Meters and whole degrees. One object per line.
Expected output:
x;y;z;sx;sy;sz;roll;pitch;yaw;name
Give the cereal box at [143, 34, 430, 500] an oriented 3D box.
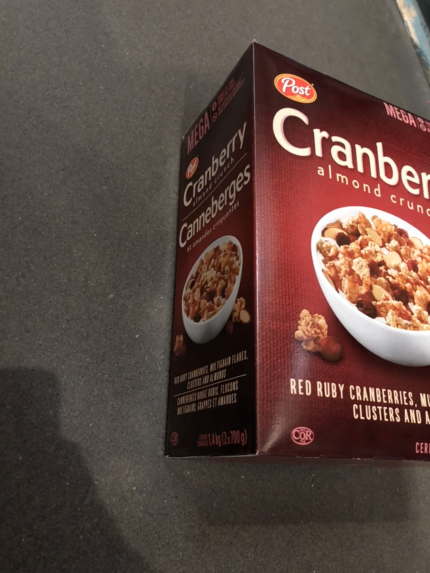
0.101;0.004;0.405;0.261;0.130;0.310;14;66;-24;cereal box
